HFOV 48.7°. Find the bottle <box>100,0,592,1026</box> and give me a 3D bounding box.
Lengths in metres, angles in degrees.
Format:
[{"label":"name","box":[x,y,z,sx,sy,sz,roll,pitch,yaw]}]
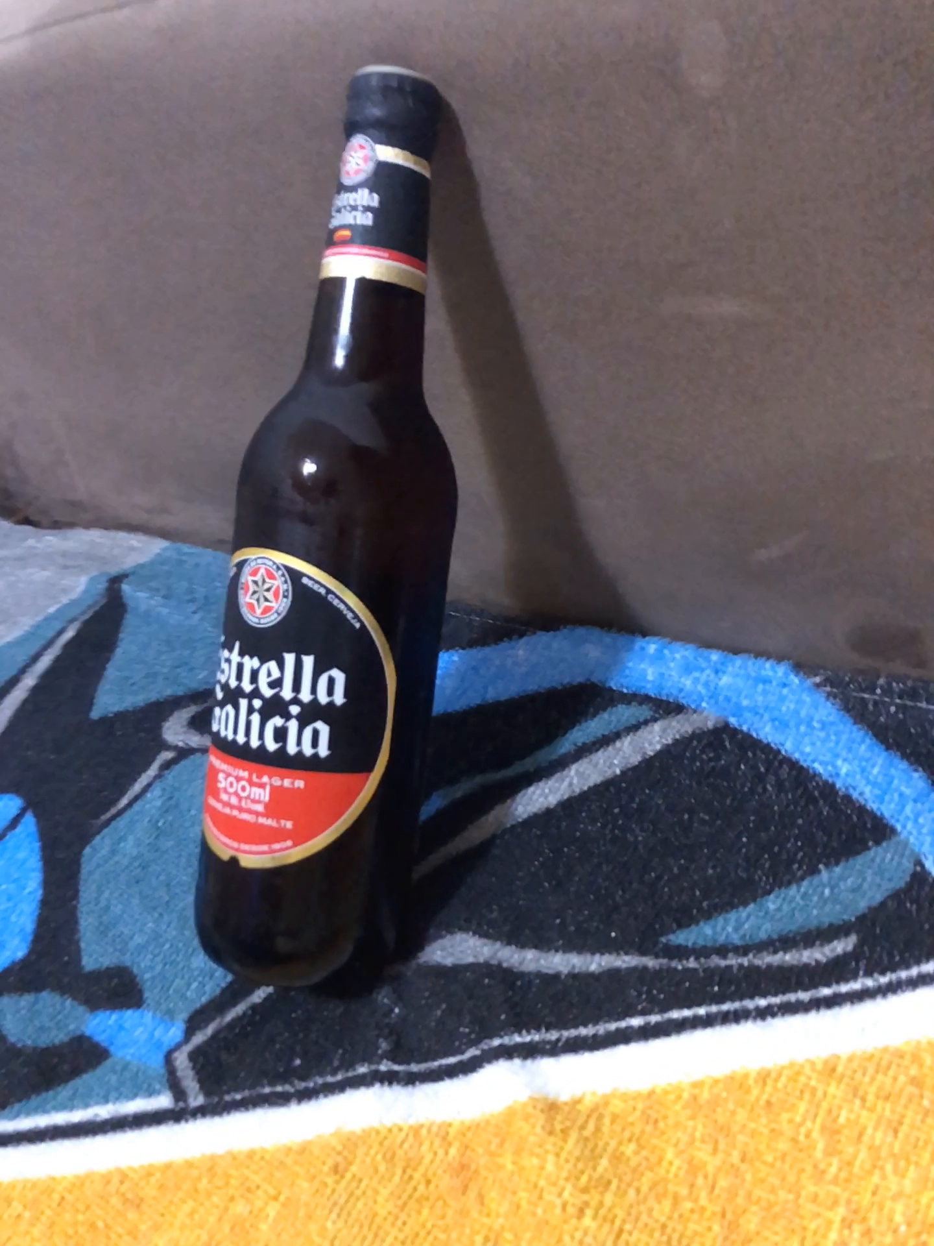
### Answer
[{"label":"bottle","box":[-0.037,-0.035,0.312,0.080,0.270,0.080,8,5,-1]}]
